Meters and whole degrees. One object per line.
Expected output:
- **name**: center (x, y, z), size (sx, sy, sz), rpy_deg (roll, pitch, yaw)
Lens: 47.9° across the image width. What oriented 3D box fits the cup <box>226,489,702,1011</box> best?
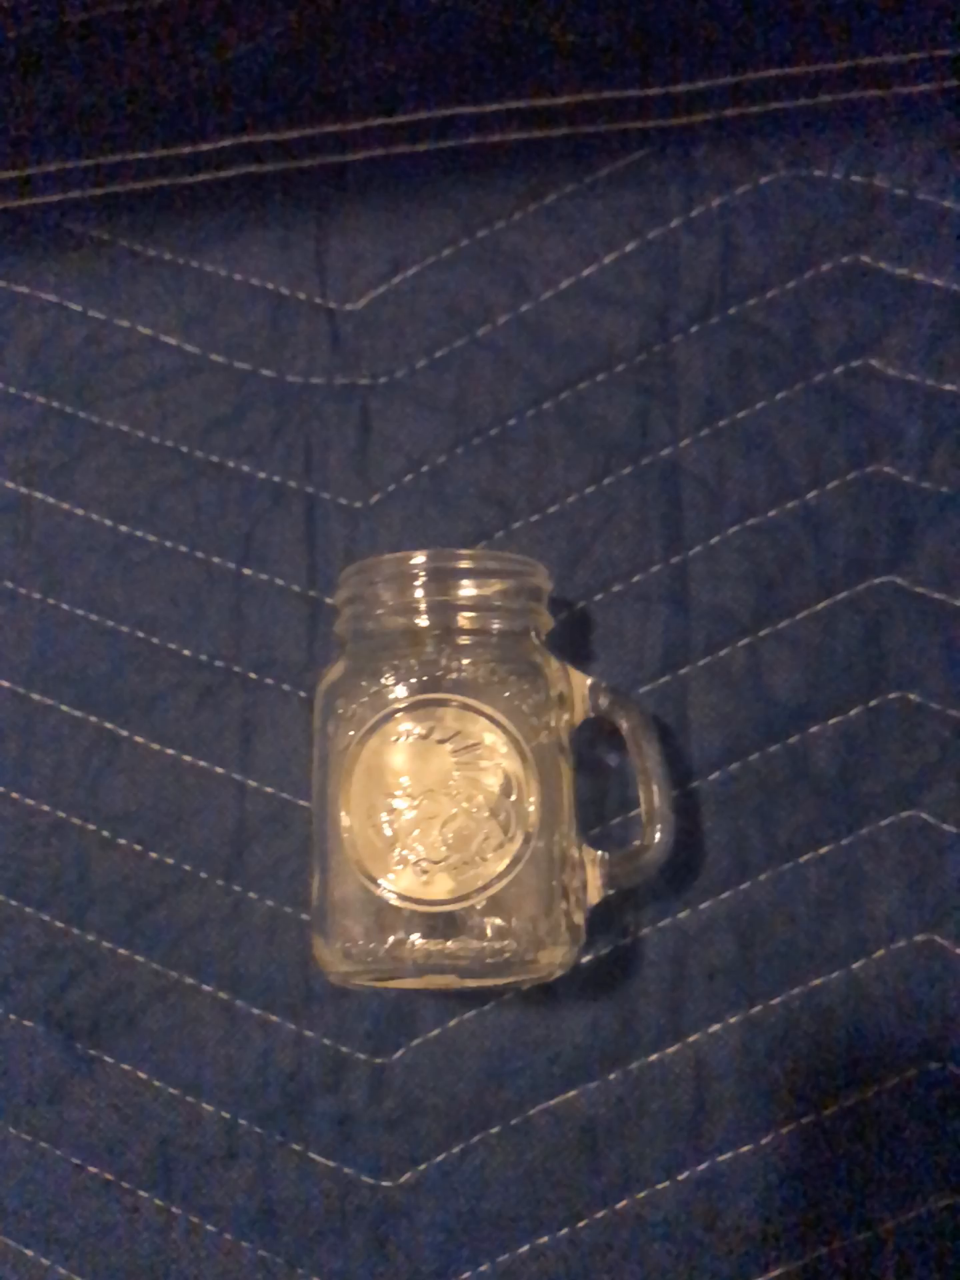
- **cup**: center (-0.002, 0.024, 0.232), size (0.088, 0.043, 0.095), rpy_deg (-1, 85, 10)
